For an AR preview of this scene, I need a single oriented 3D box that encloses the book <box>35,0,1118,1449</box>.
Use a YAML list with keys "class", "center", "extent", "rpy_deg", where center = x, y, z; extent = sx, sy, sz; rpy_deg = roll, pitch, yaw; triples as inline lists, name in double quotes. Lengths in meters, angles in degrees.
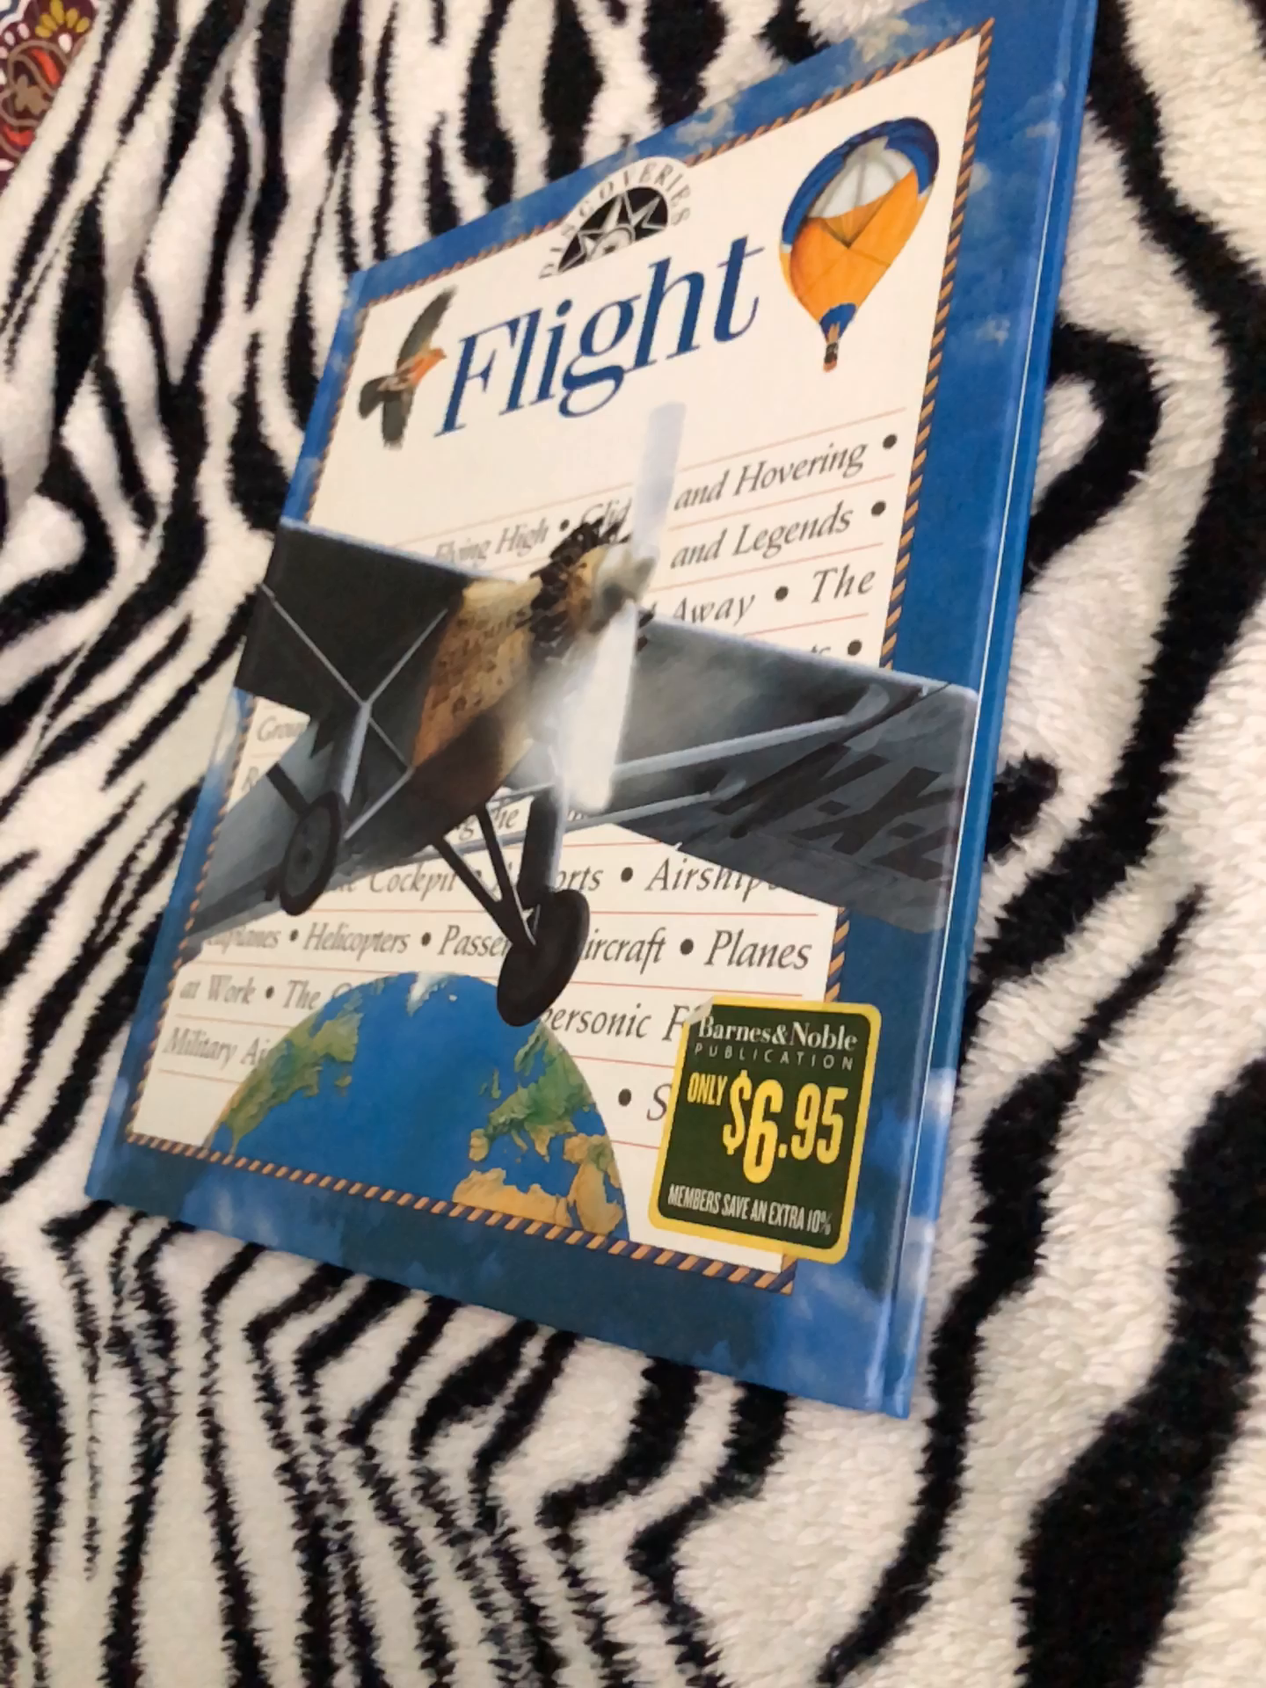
- class: "book"
  center: [-0.028, -0.045, 0.345]
  extent: [0.259, 0.020, 0.300]
  rpy_deg: [-2, 70, 41]
